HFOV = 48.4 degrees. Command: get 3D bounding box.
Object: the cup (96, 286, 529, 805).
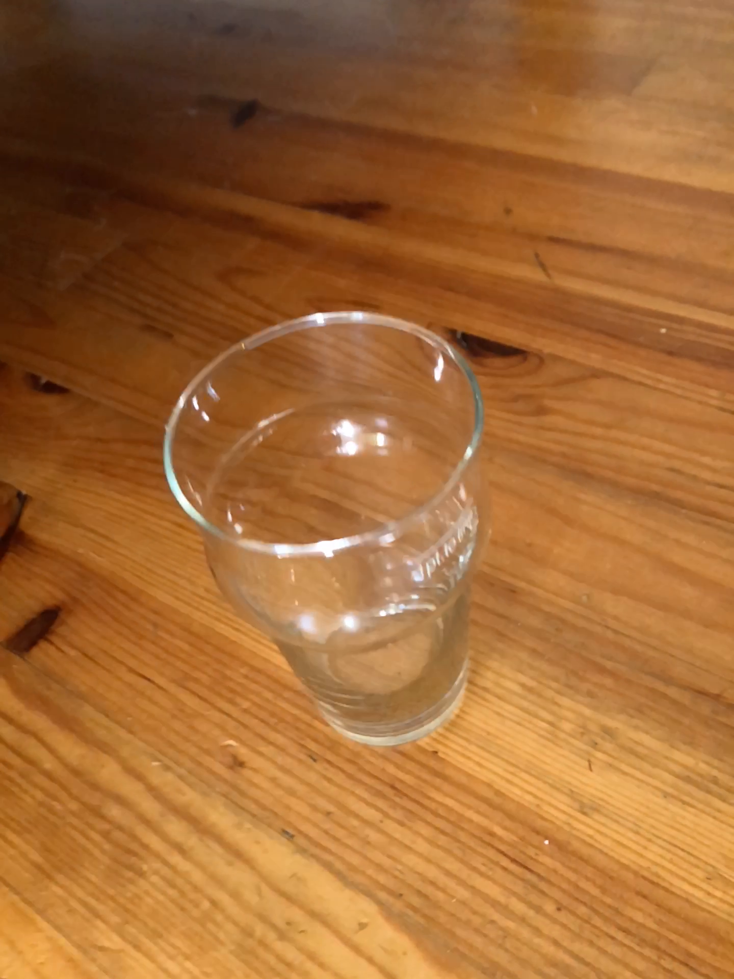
[{"bbox_3d":[-0.005,0.026,0.291,0.091,0.151,0.095,-3,52,4],"label":"cup"}]
